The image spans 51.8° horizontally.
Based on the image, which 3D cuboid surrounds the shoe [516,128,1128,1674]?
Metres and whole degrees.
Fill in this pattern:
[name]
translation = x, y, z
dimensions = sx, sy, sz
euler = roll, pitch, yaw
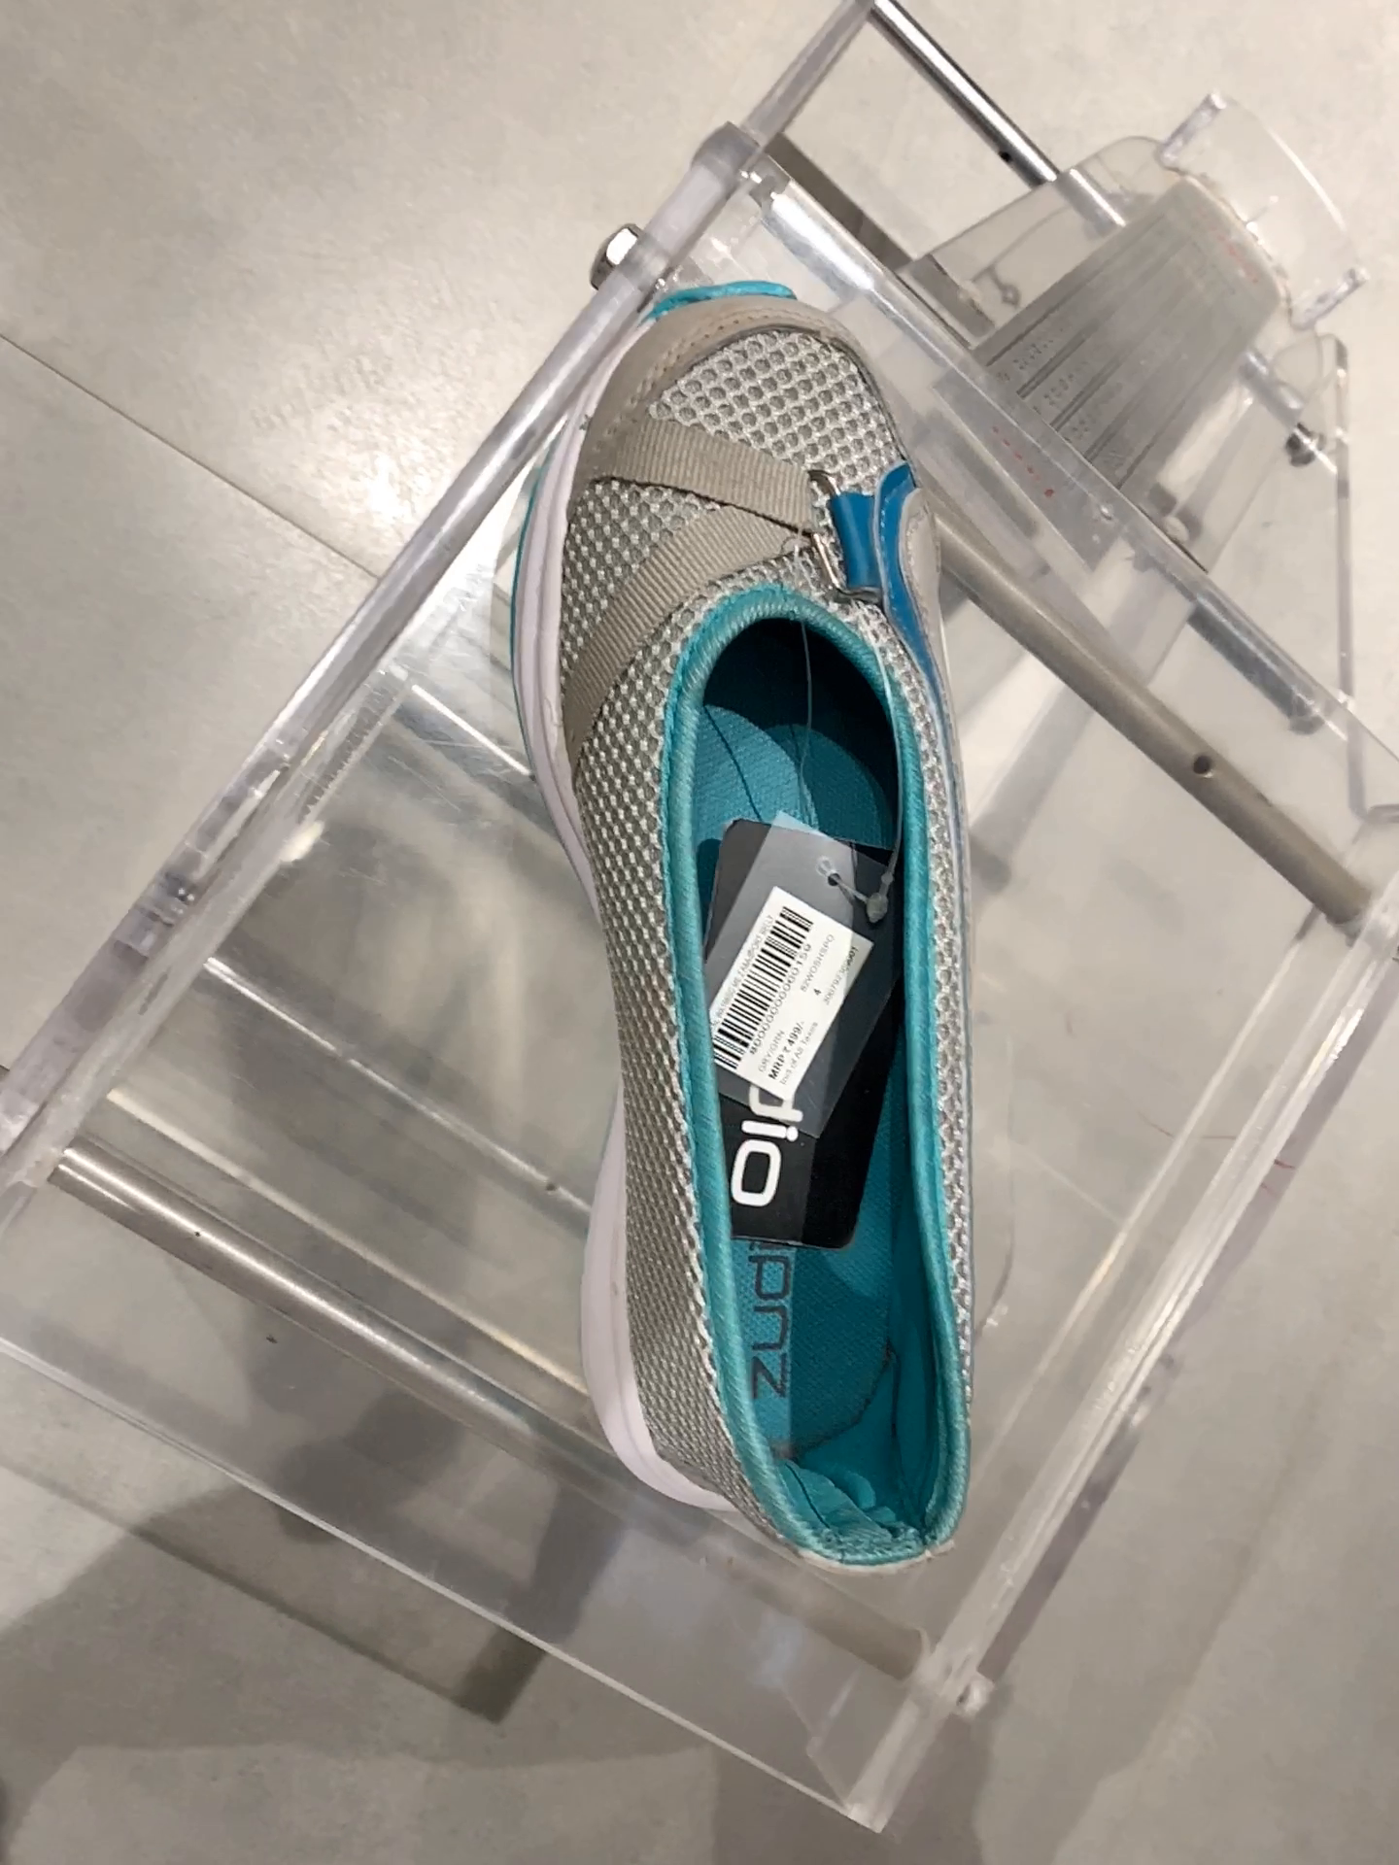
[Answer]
[shoe]
translation = 0.023, -0.005, 0.303
dimensions = 0.090, 0.080, 0.270
euler = -5, 94, -19
